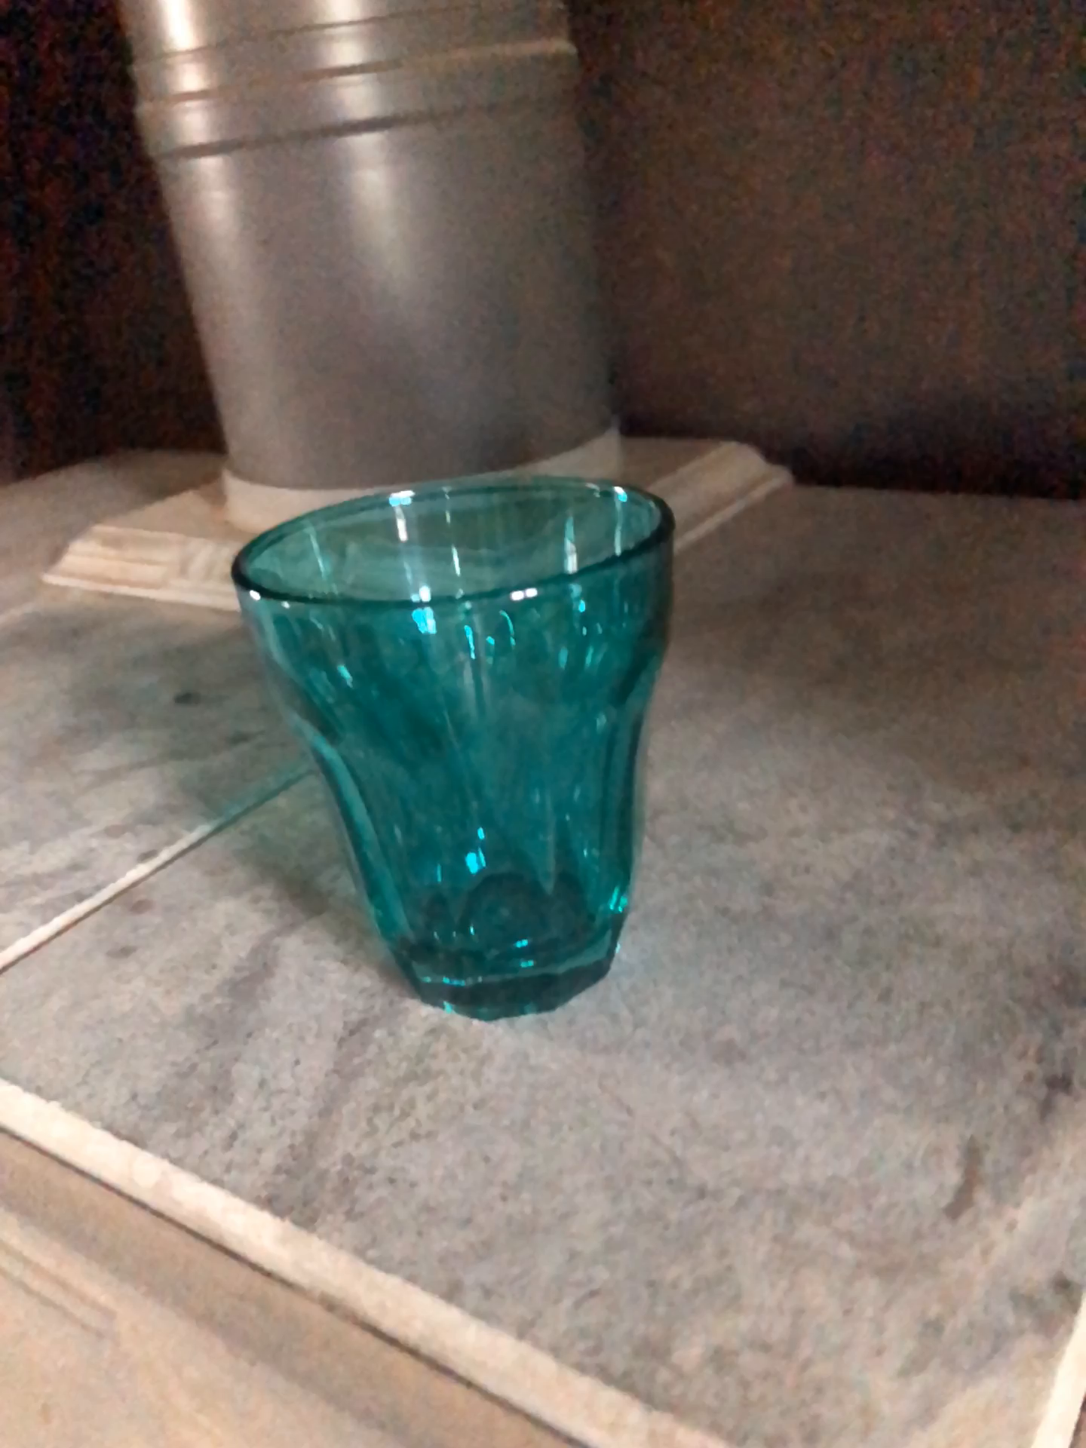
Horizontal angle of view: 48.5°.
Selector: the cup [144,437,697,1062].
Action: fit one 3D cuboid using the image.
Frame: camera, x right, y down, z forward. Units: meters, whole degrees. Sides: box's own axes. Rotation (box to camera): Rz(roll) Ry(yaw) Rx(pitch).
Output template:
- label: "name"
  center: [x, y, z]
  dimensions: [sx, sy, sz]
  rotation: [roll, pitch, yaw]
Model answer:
- label: "cup"
  center: [-0.013, 0.001, 0.209]
  dimensions: [0.070, 0.080, 0.070]
  rotation: [-6, 24, 3]
